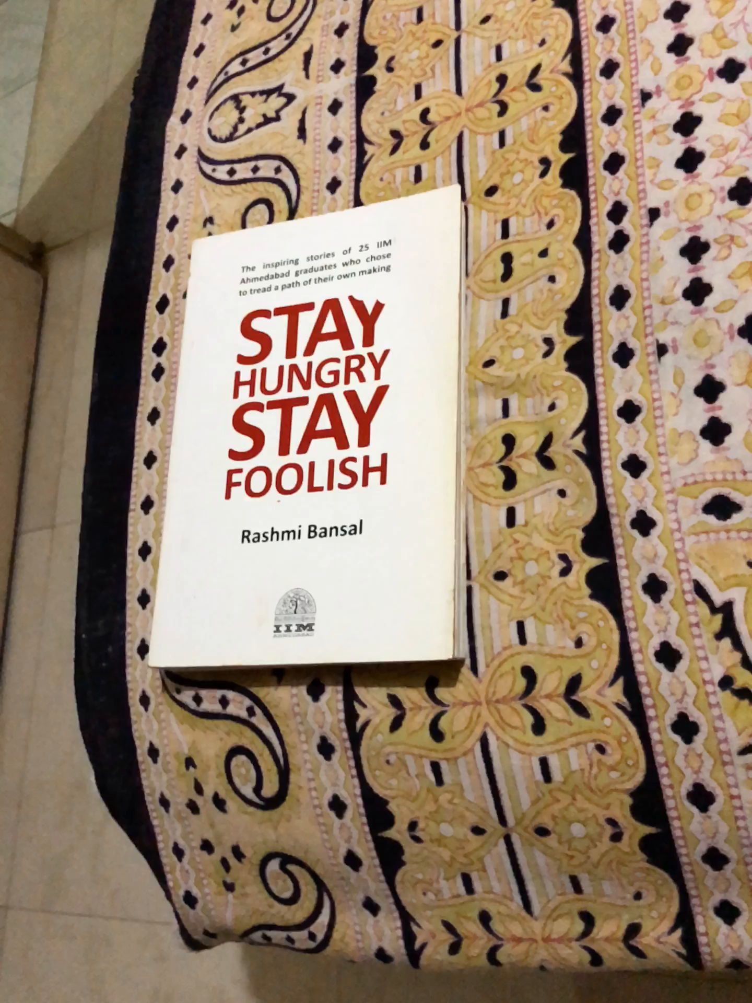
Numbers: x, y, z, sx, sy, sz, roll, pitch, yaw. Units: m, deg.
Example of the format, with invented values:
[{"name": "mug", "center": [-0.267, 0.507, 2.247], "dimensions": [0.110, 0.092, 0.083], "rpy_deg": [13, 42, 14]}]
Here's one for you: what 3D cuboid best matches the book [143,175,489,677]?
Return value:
[{"name": "book", "center": [-0.023, -0.030, 0.377], "dimensions": [0.140, 0.040, 0.210], "rpy_deg": [-4, 73, 21]}]
